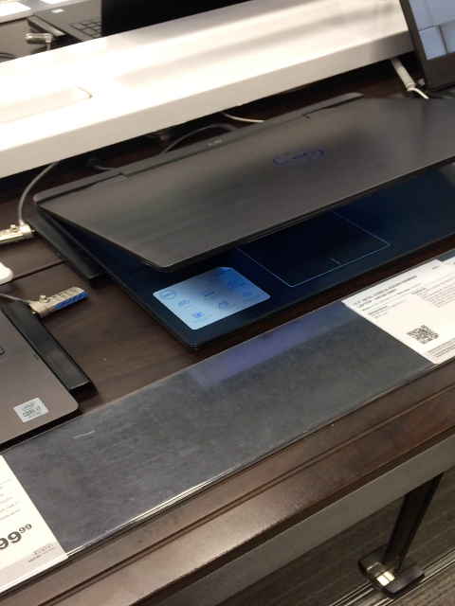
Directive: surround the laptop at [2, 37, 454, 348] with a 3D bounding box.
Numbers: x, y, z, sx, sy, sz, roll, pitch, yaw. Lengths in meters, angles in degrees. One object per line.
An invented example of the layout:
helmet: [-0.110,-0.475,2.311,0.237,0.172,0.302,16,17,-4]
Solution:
laptop: [0.058,-0.139,0.605,0.427,0.085,0.267,-26,49,-19]
